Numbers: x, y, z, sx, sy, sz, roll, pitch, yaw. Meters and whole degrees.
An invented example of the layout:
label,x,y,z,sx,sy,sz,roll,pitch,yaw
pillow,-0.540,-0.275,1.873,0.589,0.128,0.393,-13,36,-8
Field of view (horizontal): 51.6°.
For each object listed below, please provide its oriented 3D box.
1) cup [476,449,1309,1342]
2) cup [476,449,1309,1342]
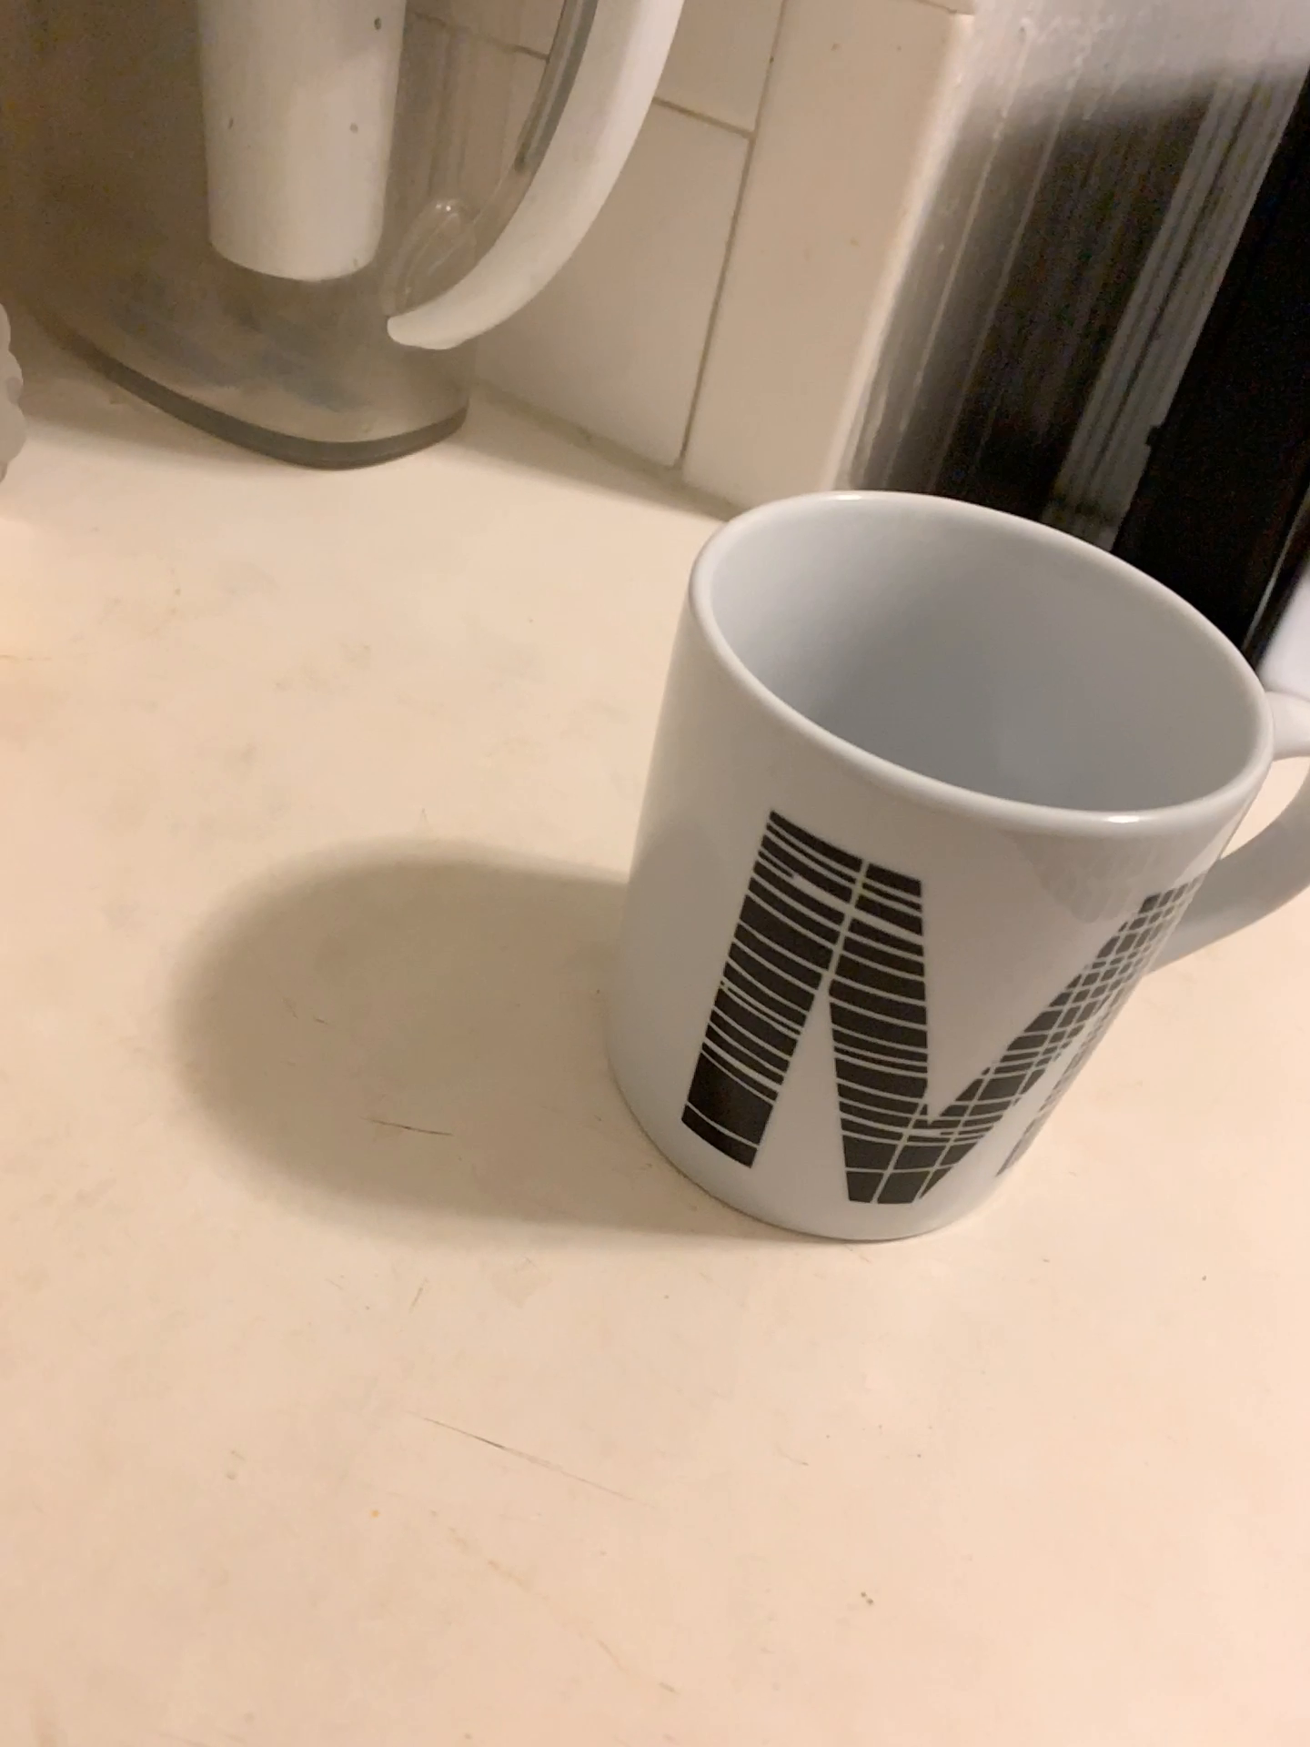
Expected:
label,x,y,z,sx,sy,sz,roll,pitch,yaw
cup,0.044,0.004,0.244,0.130,0.109,0.101,0,41,-17
cup,0.044,0.004,0.244,0.130,0.109,0.101,0,41,-17
